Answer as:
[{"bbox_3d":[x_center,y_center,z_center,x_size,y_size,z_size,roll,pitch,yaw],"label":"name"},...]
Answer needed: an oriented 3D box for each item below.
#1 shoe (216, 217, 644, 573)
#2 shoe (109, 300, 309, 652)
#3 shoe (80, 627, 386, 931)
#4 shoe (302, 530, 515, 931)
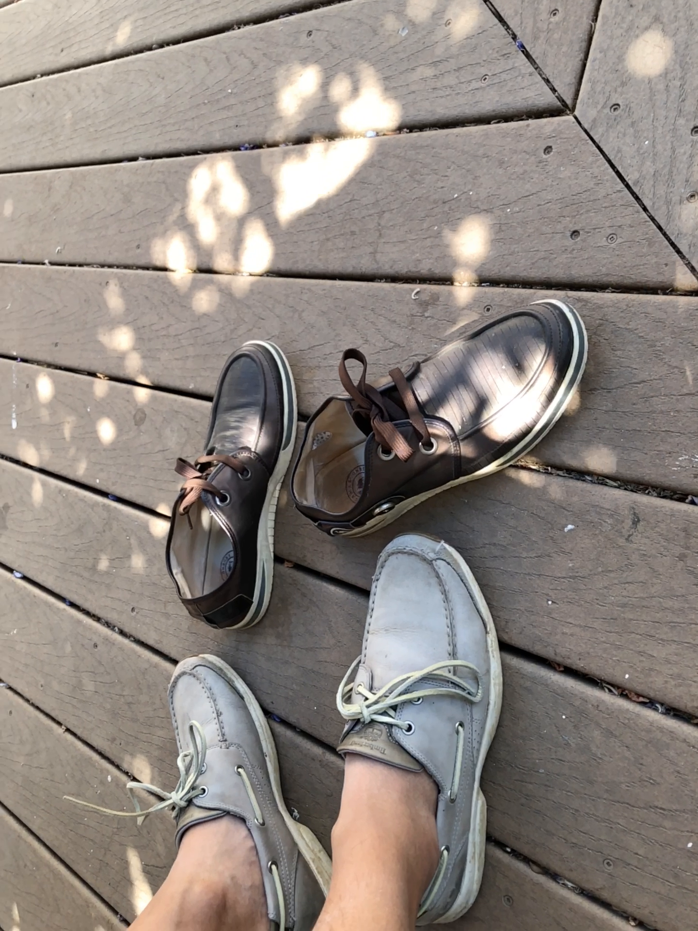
[{"bbox_3d":[0.048,-0.033,0.598,0.304,0.111,0.110,-35,64,29],"label":"shoe"},{"bbox_3d":[-0.131,0.011,0.734,0.111,0.111,0.303,3,85,38],"label":"shoe"},{"bbox_3d":[-0.114,0.304,0.686,0.110,0.111,0.304,-49,57,22],"label":"shoe"},{"bbox_3d":[0.043,0.205,0.577,0.111,0.111,0.303,-7,79,37],"label":"shoe"}]
